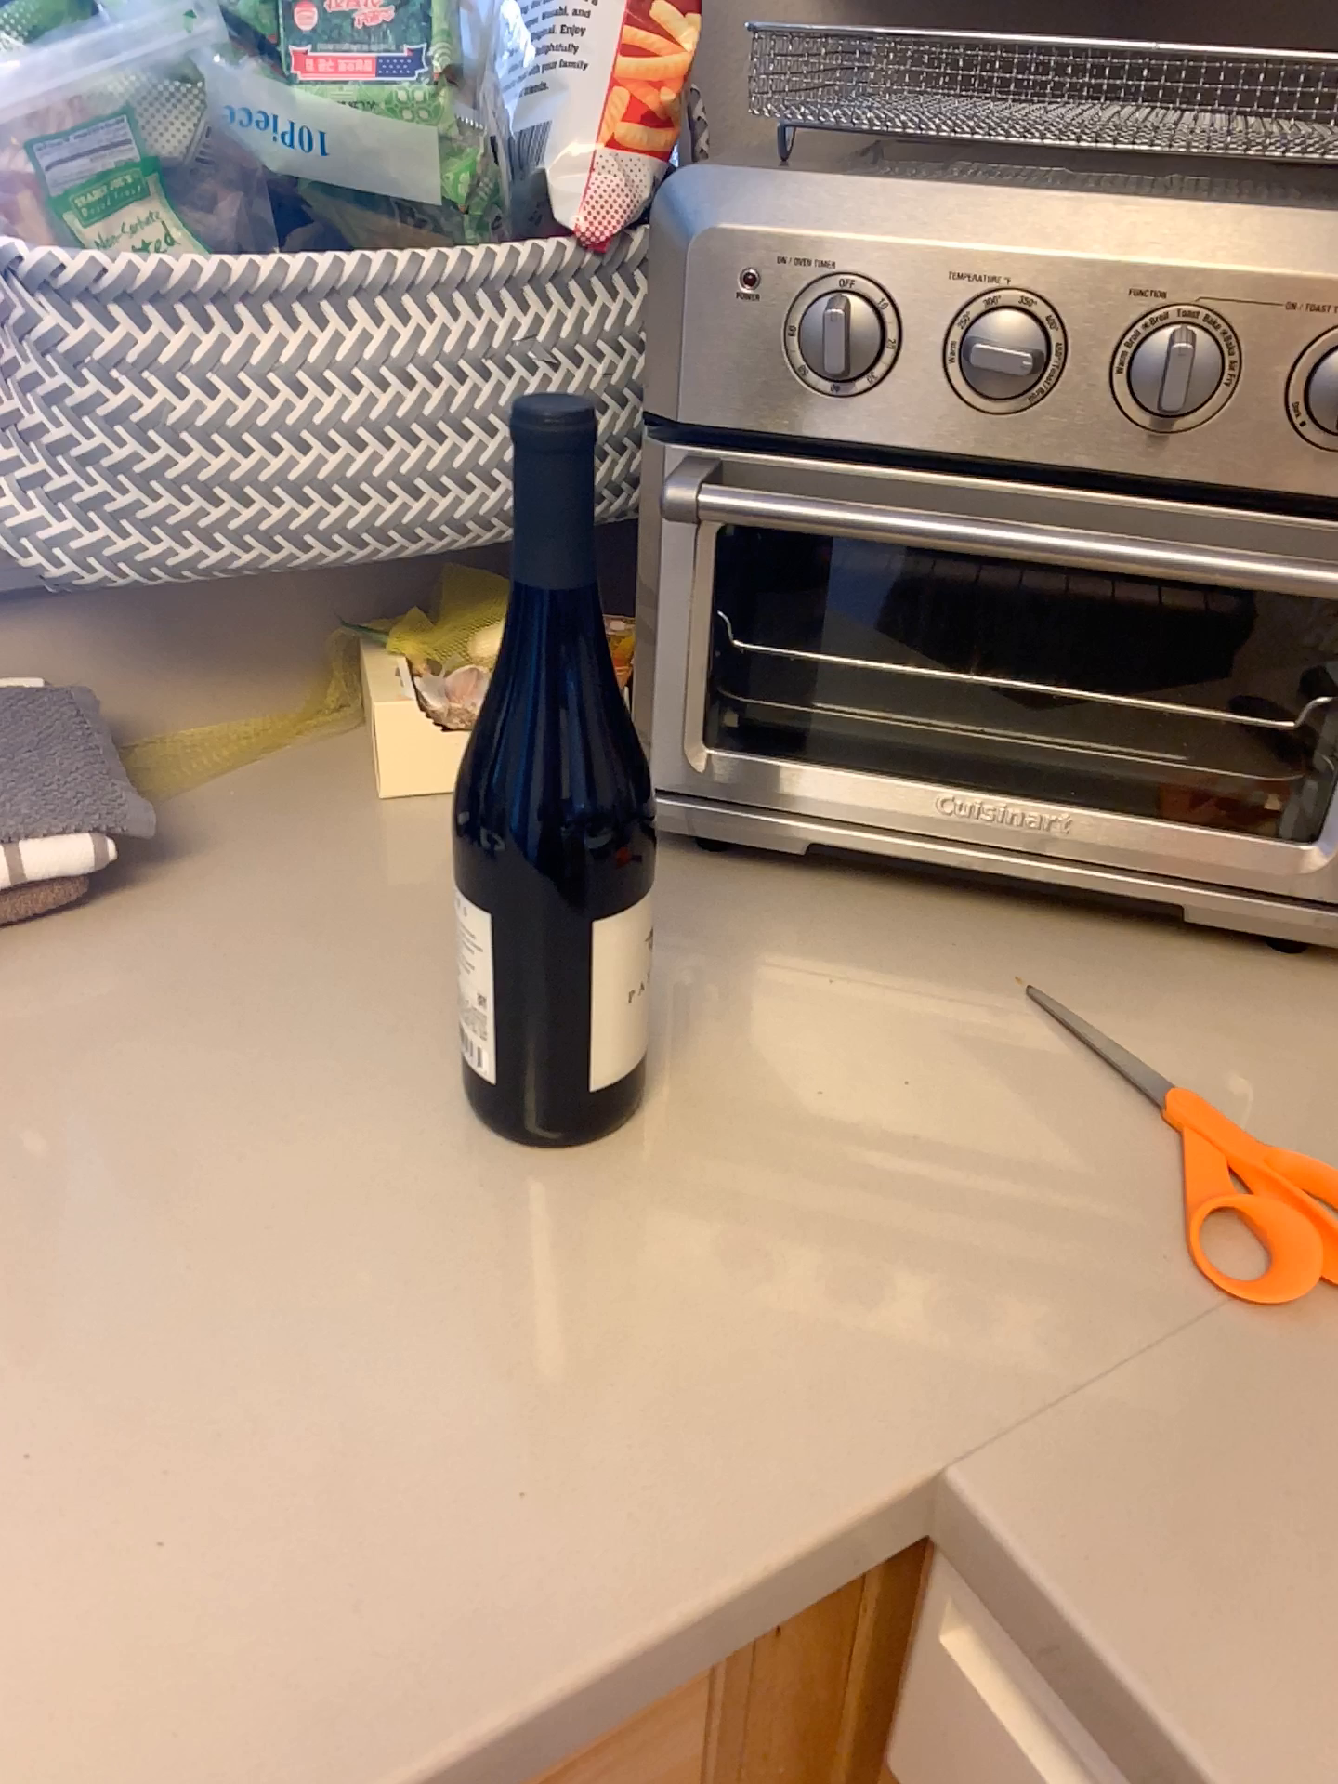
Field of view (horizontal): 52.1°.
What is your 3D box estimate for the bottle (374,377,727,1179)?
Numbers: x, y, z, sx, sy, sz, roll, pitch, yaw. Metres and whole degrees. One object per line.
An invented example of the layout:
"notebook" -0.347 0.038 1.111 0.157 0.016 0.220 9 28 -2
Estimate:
"bottle" -0.039 -0.034 0.513 0.090 0.278 0.090 2 32 -1
